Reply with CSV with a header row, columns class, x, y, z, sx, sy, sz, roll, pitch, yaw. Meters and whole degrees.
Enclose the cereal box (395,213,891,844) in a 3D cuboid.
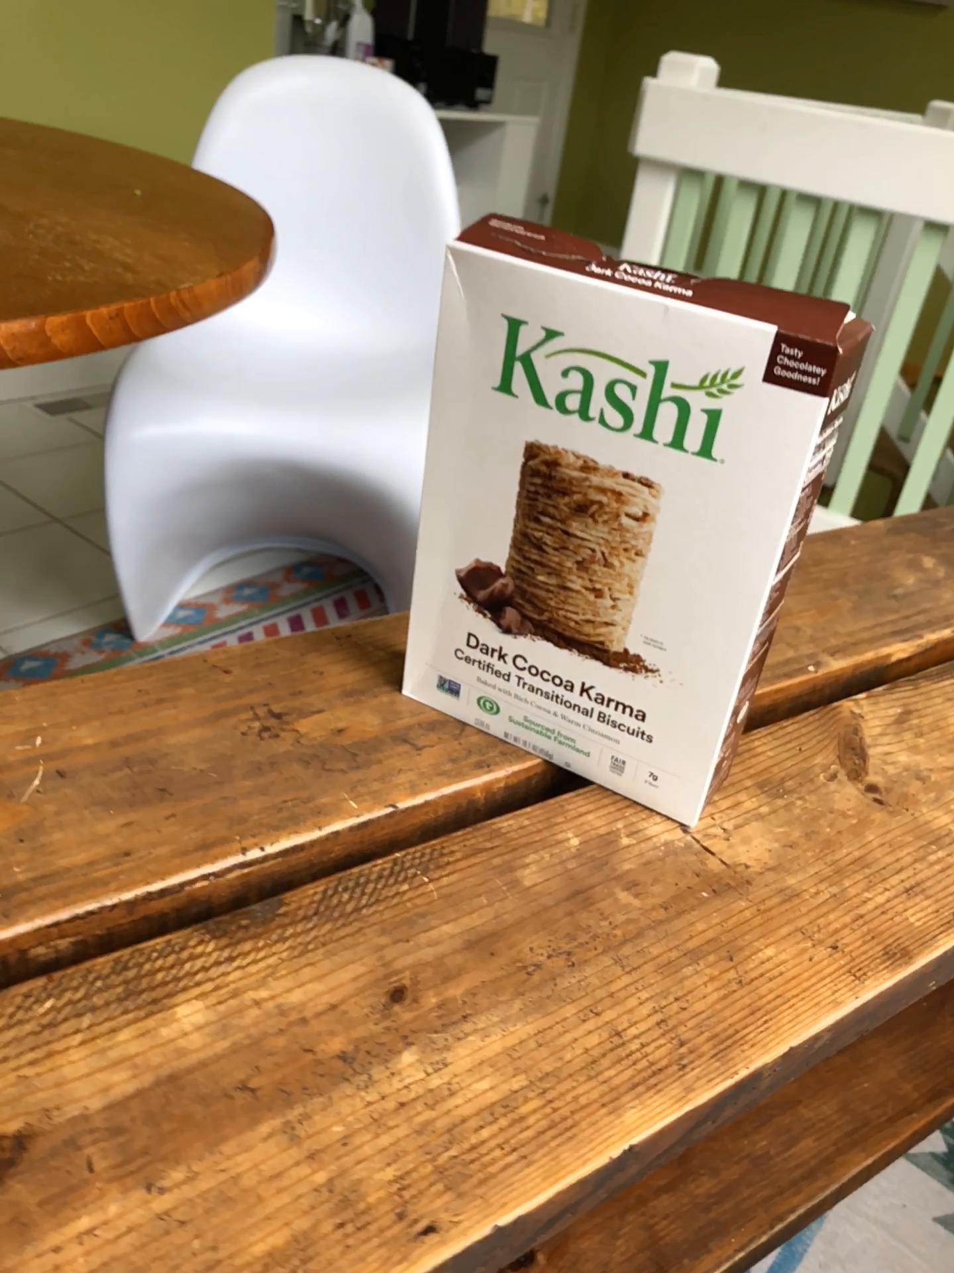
class,x,y,z,sx,sy,sz,roll,pitch,yaw
cereal box,0.067,-0.052,0.555,0.200,0.278,0.060,22,36,21
